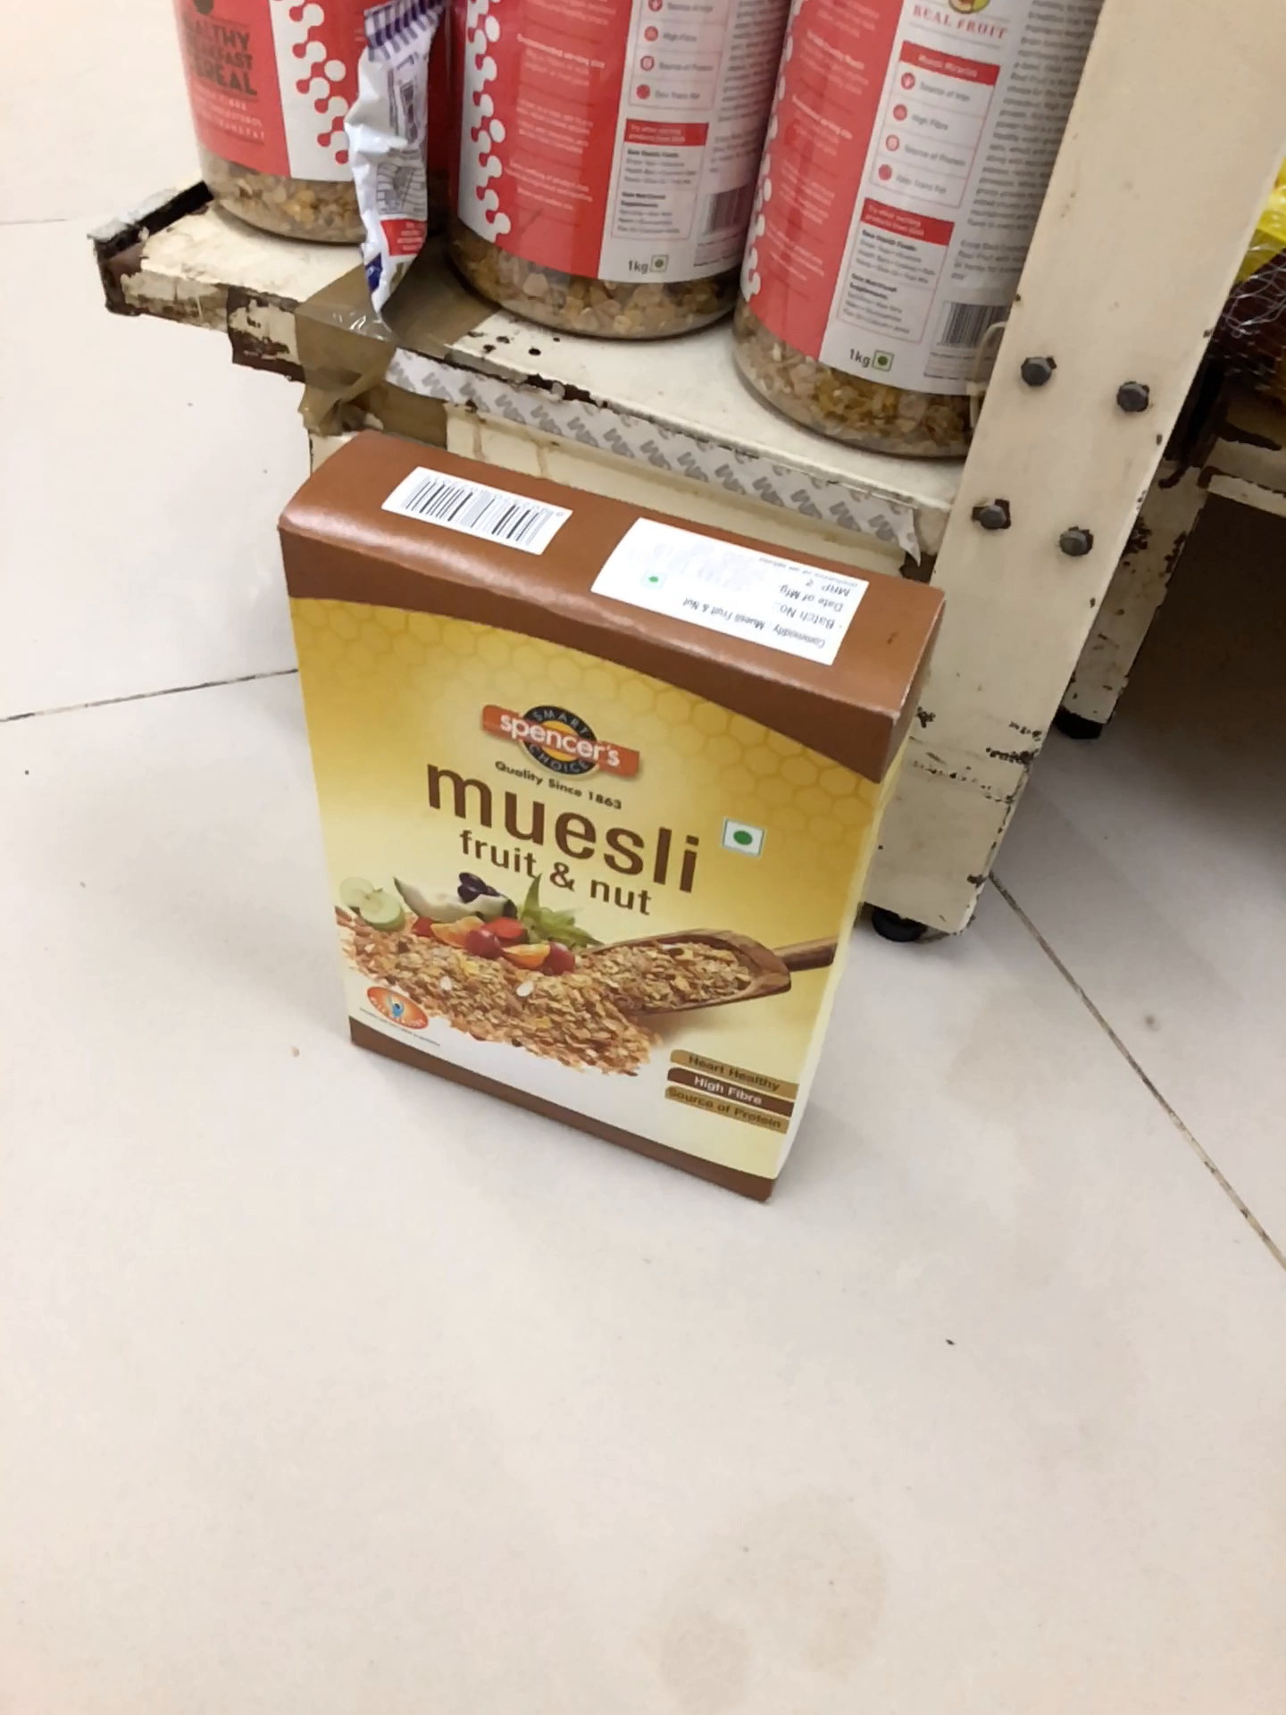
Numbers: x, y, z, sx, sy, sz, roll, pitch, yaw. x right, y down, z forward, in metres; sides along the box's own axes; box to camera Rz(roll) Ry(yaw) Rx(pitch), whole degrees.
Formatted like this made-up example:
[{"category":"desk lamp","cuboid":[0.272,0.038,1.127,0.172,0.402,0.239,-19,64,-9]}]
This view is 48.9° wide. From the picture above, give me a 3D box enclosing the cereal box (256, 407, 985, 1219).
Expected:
[{"category":"cereal box","cuboid":[-0.015,-0.002,0.469,0.190,0.239,0.060,19,46,12]}]
